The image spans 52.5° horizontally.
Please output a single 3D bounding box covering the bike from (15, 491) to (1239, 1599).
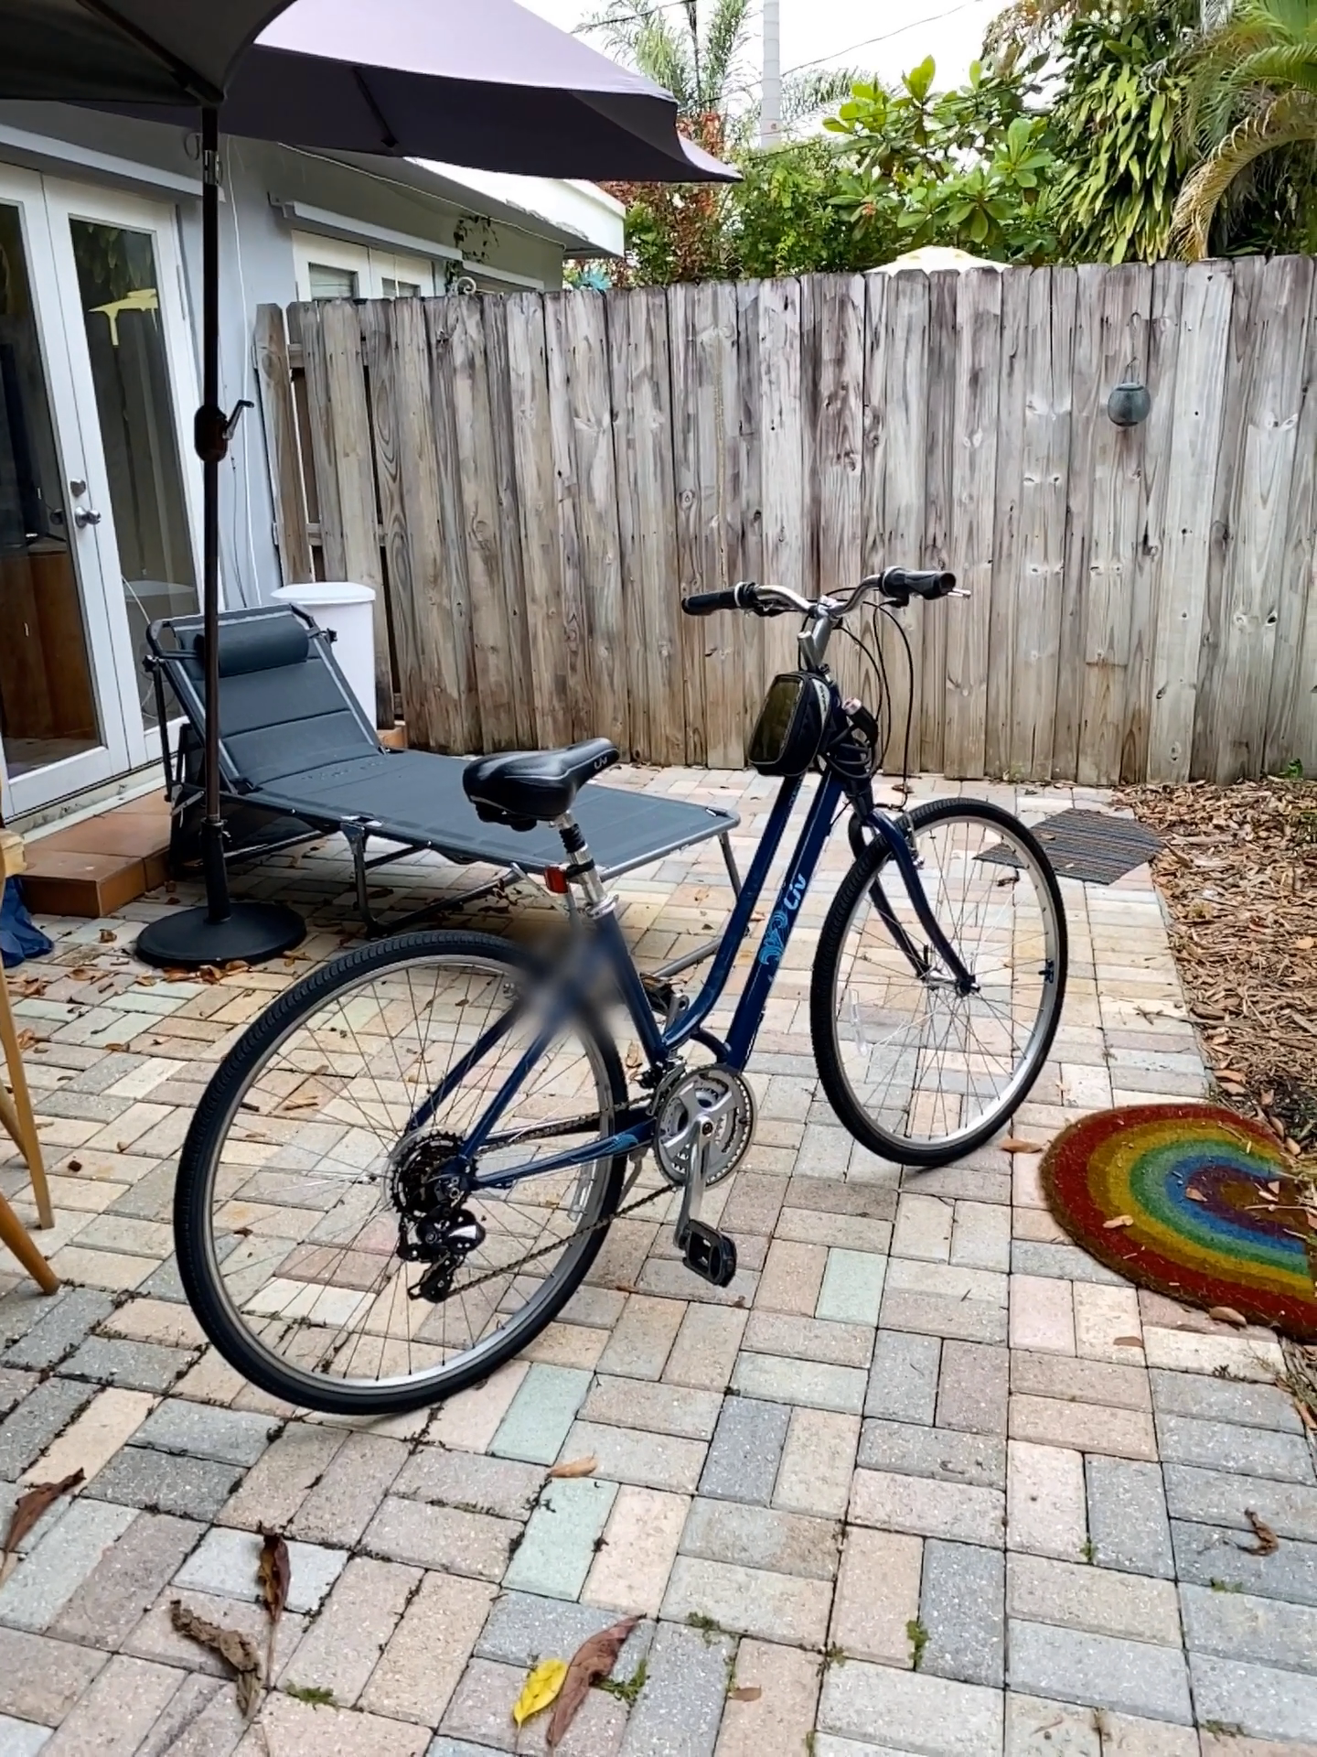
[{"bbox_3d":[0.078,0.048,2.080,1.691,1.067,0.597,-17,24,-33],"label":"bike"}]
